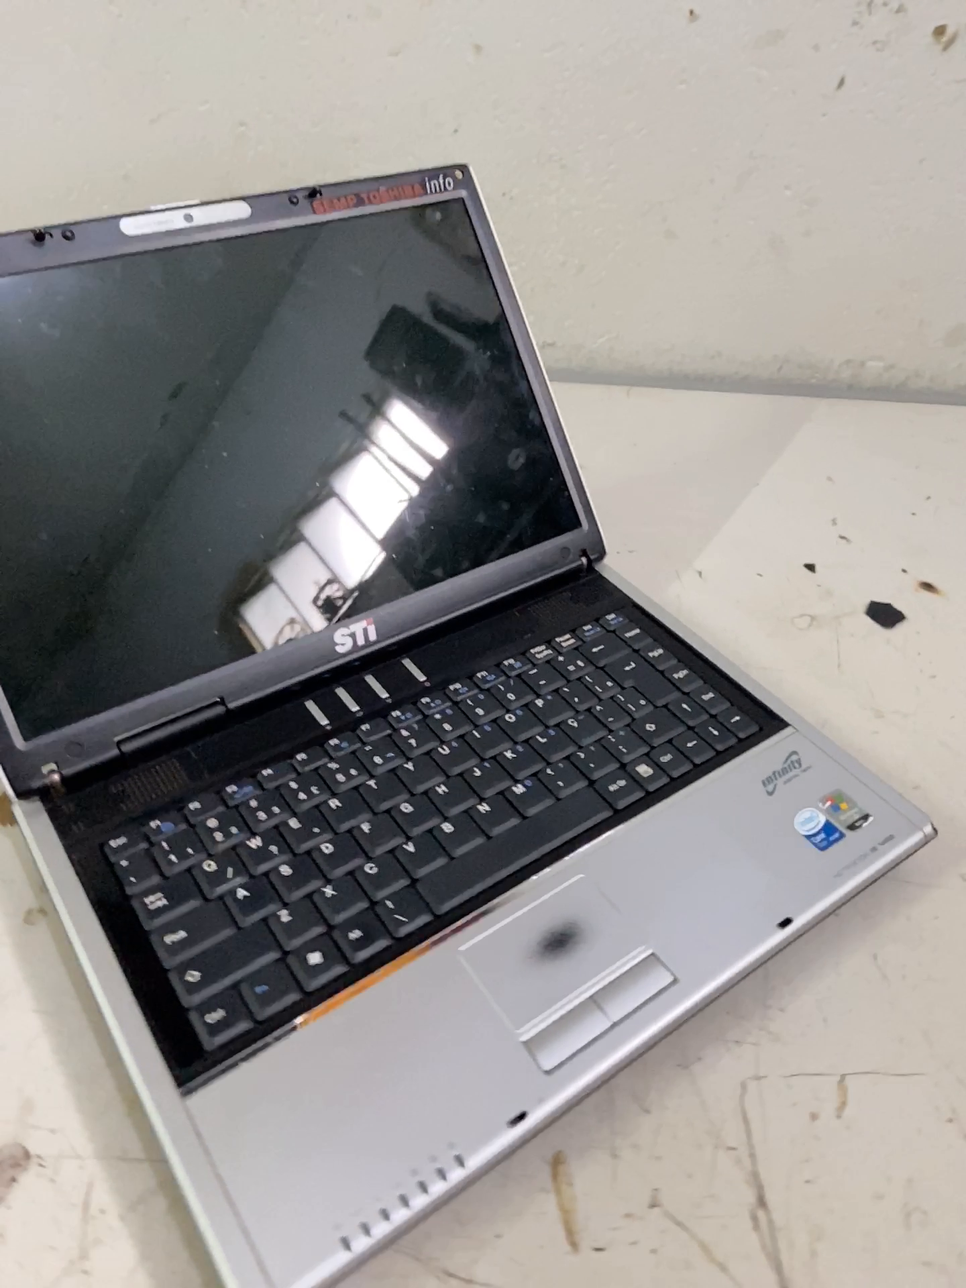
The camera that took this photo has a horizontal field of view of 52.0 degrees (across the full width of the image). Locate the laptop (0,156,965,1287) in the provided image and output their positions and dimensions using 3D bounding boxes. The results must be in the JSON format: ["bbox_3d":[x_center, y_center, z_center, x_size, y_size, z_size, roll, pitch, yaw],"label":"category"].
[{"bbox_3d":[-0.046,-0.037,0.416,0.326,0.167,0.387,-23,50,-27],"label":"laptop"}]
